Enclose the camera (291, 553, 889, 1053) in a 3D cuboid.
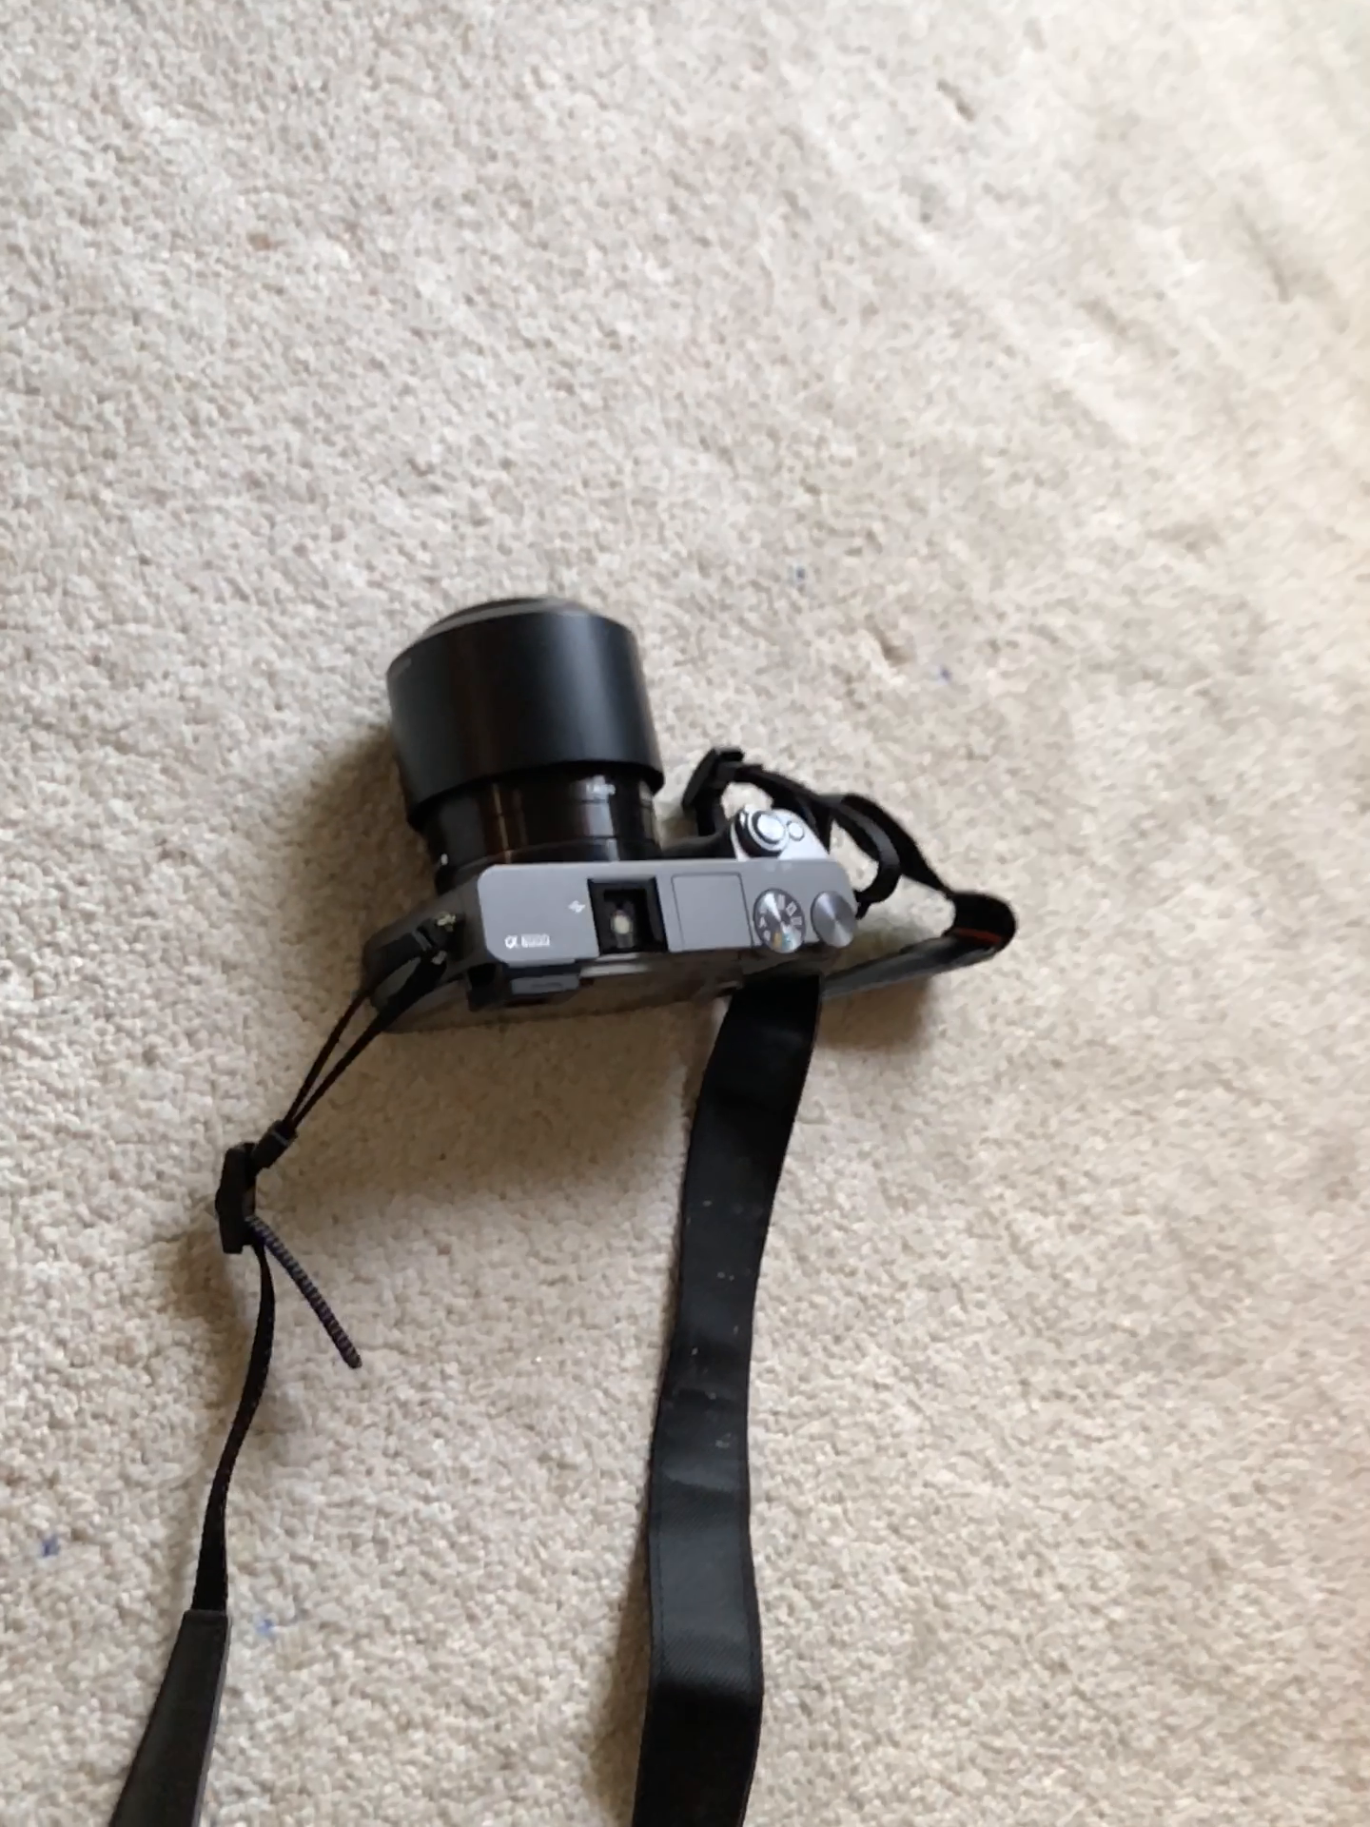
[{"bbox_3d":[-0.024,-0.025,0.392,0.121,0.070,0.100,-3,77,-38],"label":"camera"}]
